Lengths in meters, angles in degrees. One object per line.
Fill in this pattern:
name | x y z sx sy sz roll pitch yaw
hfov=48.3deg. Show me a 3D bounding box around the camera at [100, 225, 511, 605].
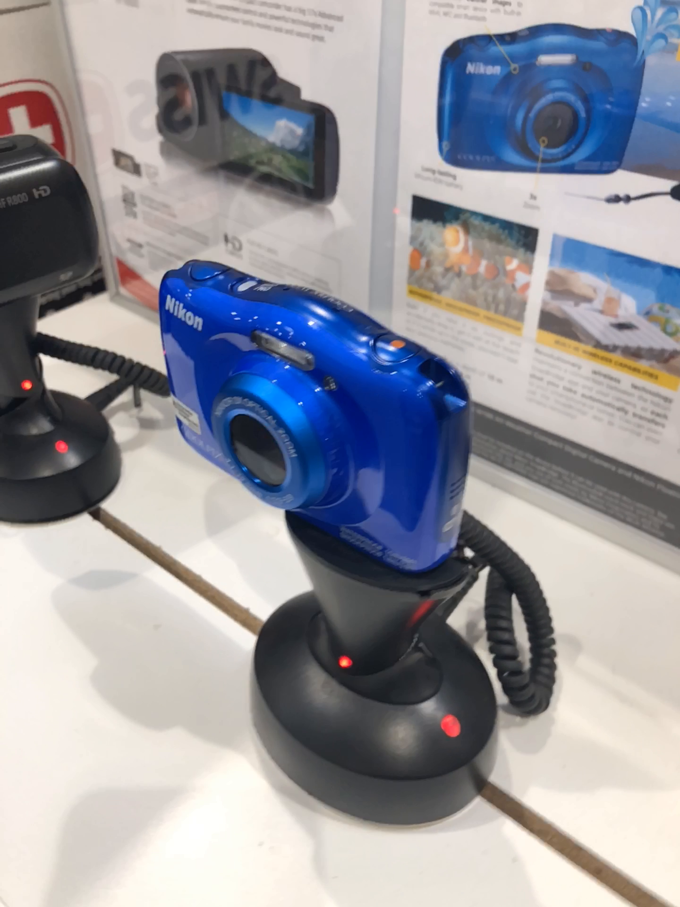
camera | -0.012 -0.015 0.206 0.100 0.060 0.040 26 45 29
